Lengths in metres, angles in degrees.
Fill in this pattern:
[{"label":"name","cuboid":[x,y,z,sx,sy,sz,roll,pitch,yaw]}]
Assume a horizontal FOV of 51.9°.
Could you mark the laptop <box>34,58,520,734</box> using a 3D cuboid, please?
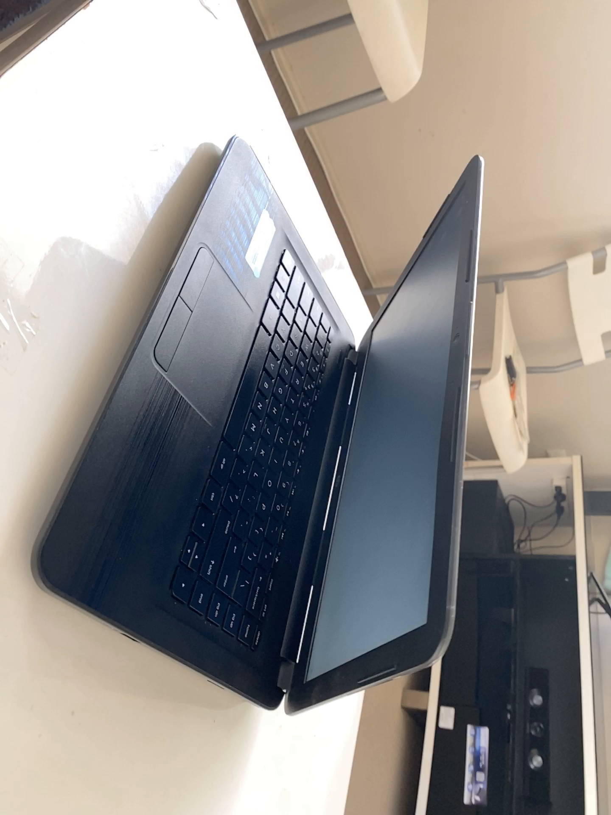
[{"label":"laptop","cuboid":[0.036,-0.009,0.402,0.226,0.154,0.336,55,38,-44]}]
